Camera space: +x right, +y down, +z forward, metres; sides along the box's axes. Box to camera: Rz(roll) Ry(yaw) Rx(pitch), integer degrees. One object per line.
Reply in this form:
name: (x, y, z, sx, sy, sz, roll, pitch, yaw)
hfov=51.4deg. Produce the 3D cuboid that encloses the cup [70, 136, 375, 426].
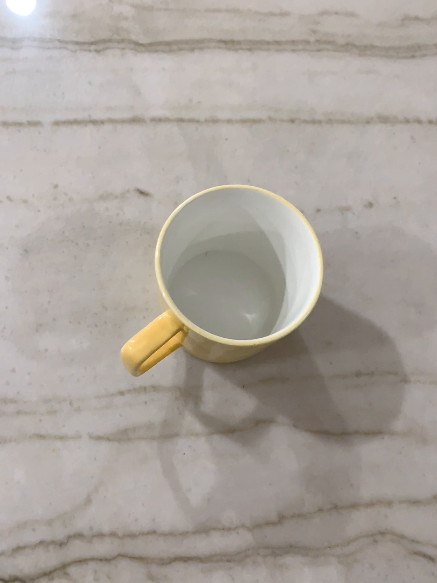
cup: (0.001, -0.001, 0.229, 0.110, 0.074, 0.074, -42, 82, -15)
